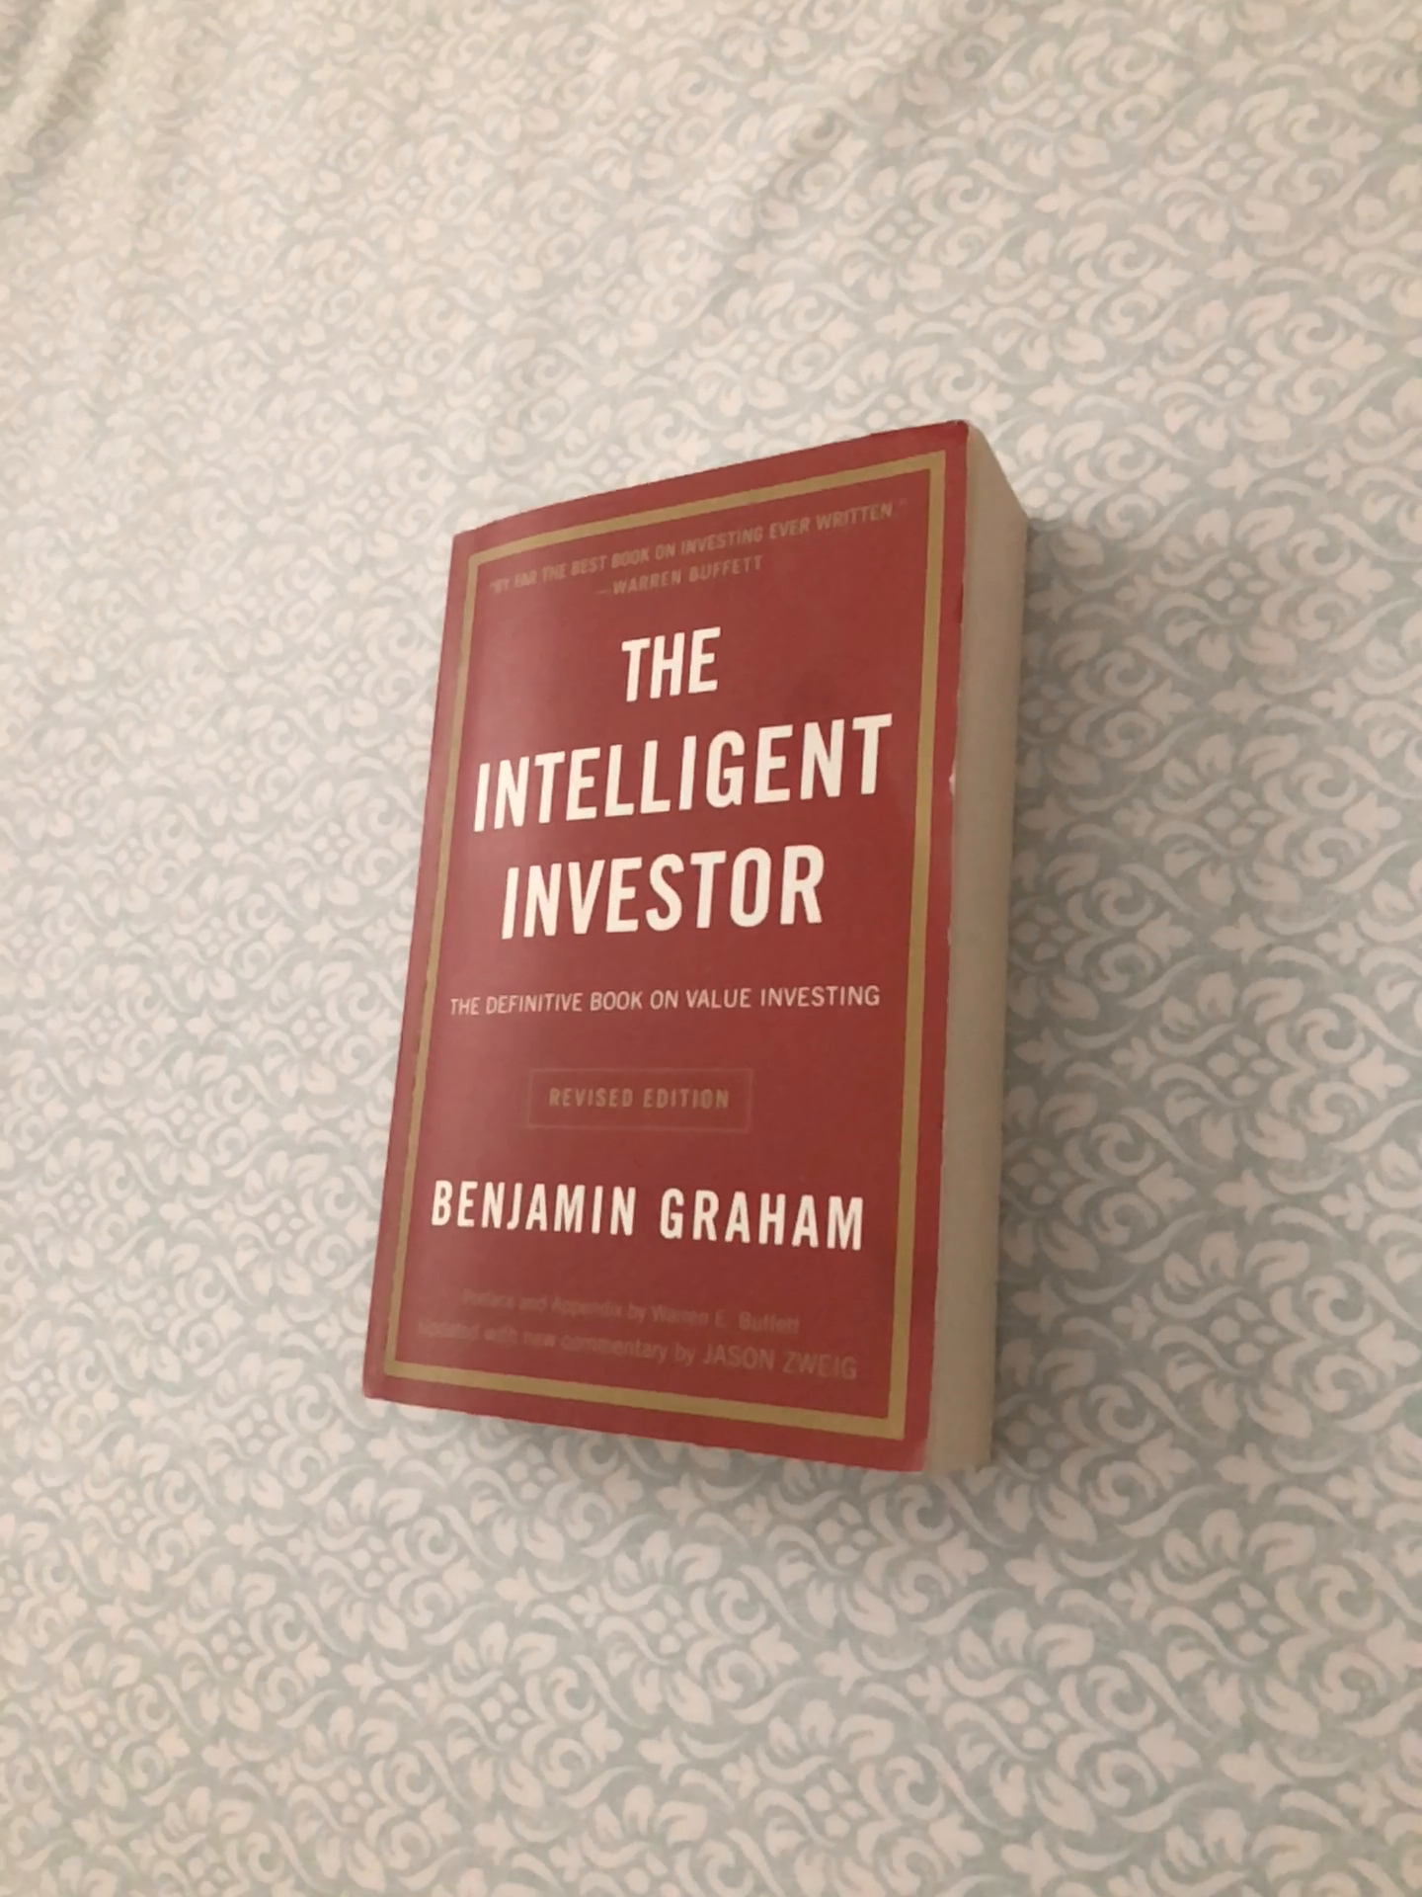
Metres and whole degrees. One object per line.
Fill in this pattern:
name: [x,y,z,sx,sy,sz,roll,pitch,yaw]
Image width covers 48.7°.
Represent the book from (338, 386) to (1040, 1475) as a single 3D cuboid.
book: [-0.003,-0.002,0.336,0.130,0.050,0.200,-3,77,30]
